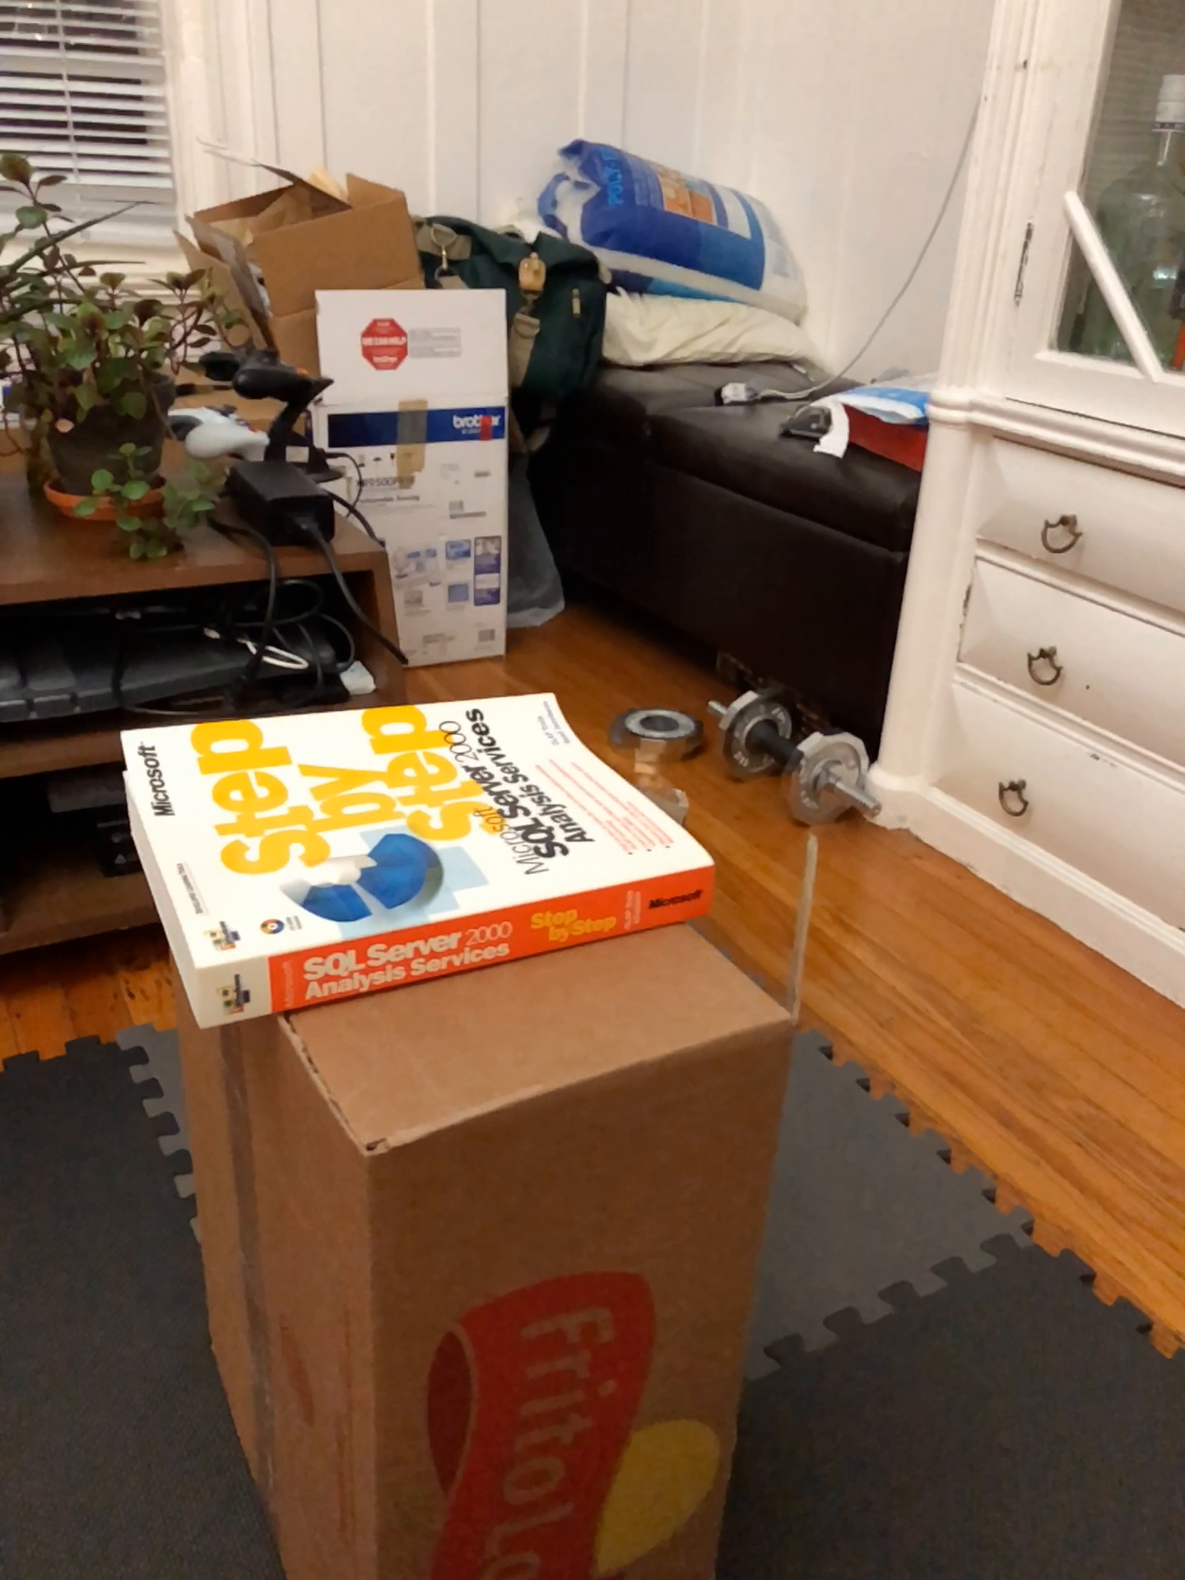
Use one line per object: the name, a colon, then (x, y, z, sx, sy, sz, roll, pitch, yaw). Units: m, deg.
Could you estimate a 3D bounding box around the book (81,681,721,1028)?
book: (-0.097, 0.014, 0.621, 0.240, 0.050, 0.201, -10, 26, -28)
